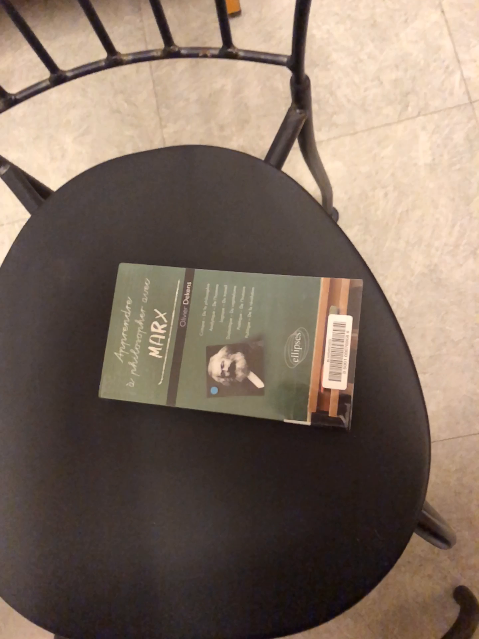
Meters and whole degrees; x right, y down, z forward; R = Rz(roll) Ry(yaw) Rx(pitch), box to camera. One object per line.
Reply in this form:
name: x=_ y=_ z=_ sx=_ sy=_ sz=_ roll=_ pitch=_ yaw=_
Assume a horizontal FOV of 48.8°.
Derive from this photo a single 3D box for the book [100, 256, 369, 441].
book: x=-0.004 y=0.018 z=0.379 sx=0.177 sy=0.024 sz=0.110 roll=6 pitch=82 yaw=10
